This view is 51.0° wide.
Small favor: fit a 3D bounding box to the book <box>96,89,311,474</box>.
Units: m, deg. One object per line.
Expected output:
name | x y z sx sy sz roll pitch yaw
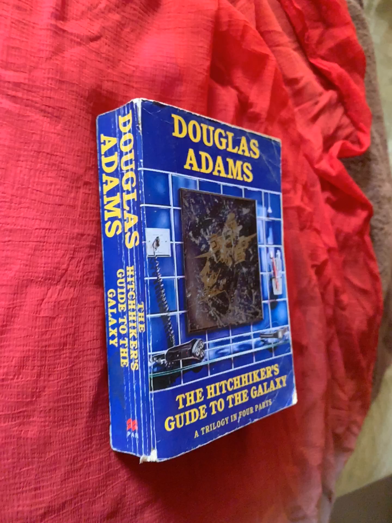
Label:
book | 0.010 0.009 0.260 0.131 0.044 0.187 0 85 -42
